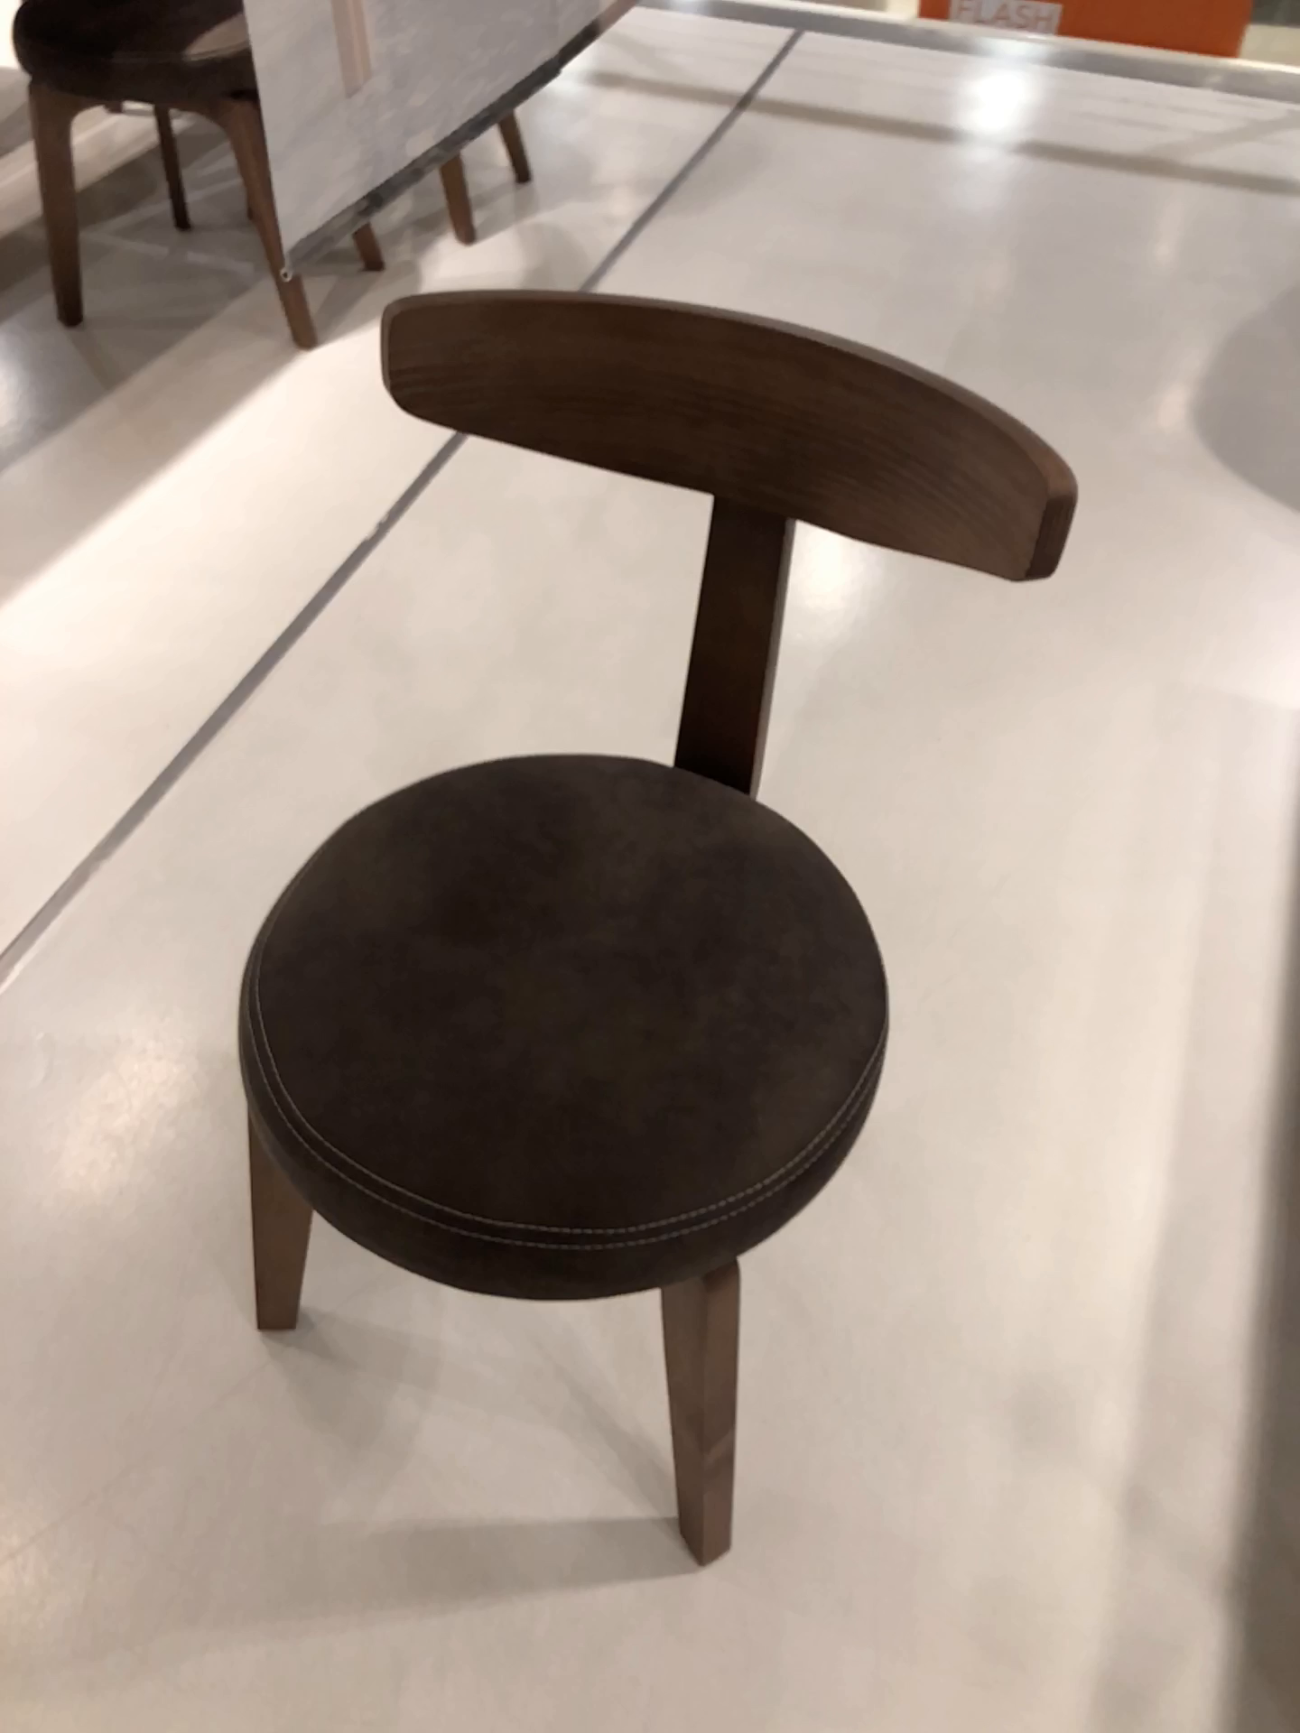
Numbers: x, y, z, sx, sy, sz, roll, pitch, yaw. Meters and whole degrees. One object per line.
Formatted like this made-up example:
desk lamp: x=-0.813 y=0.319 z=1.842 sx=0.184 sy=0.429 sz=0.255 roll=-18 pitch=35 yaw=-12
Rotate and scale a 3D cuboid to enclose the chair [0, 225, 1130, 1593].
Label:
chair: x=-0.042 y=0.043 z=1.004 sx=0.470 sy=0.705 sz=0.493 roll=19 pitch=48 yaw=17
